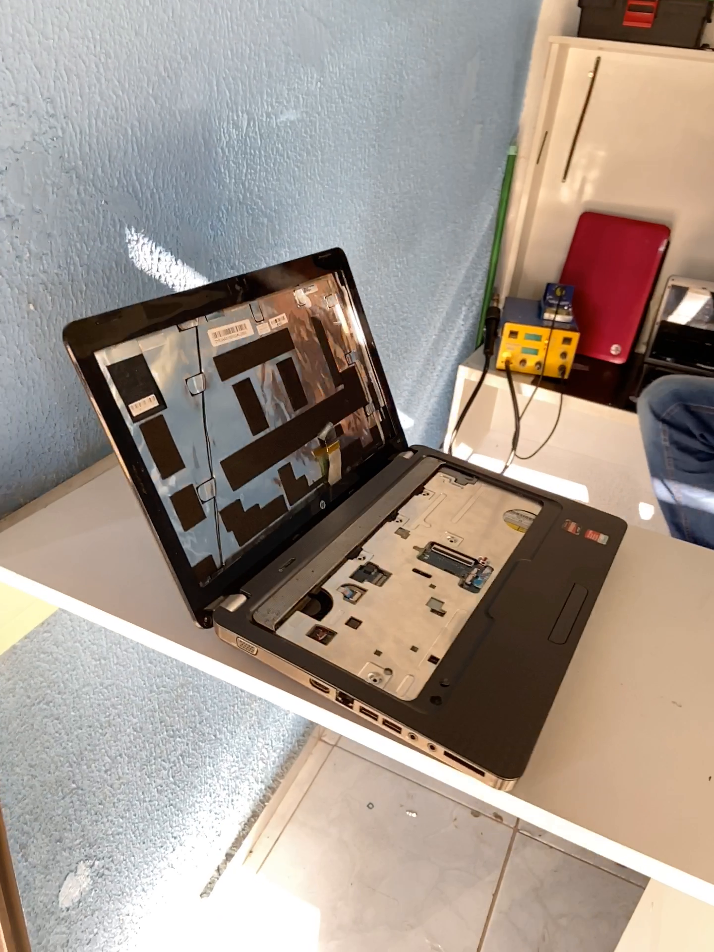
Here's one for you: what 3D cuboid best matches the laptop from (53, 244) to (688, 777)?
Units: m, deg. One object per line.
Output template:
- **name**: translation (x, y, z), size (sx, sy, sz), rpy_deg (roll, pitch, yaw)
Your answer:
- **laptop**: translation (0.033, -0.028, 0.580), size (0.349, 0.179, 0.340), rpy_deg (22, 32, 21)
